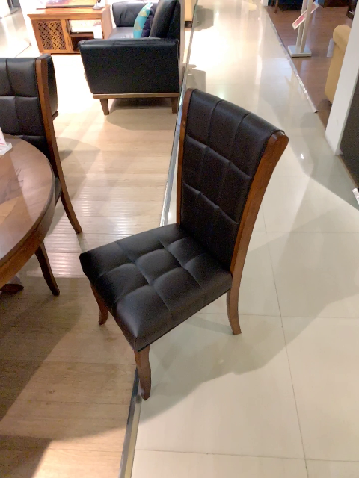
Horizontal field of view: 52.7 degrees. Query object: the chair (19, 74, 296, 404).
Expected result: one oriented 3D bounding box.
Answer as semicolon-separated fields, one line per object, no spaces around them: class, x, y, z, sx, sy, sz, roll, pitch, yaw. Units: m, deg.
chair;-0.062;0.014;1.342;0.600;0.936;0.532;-26;47;-23
